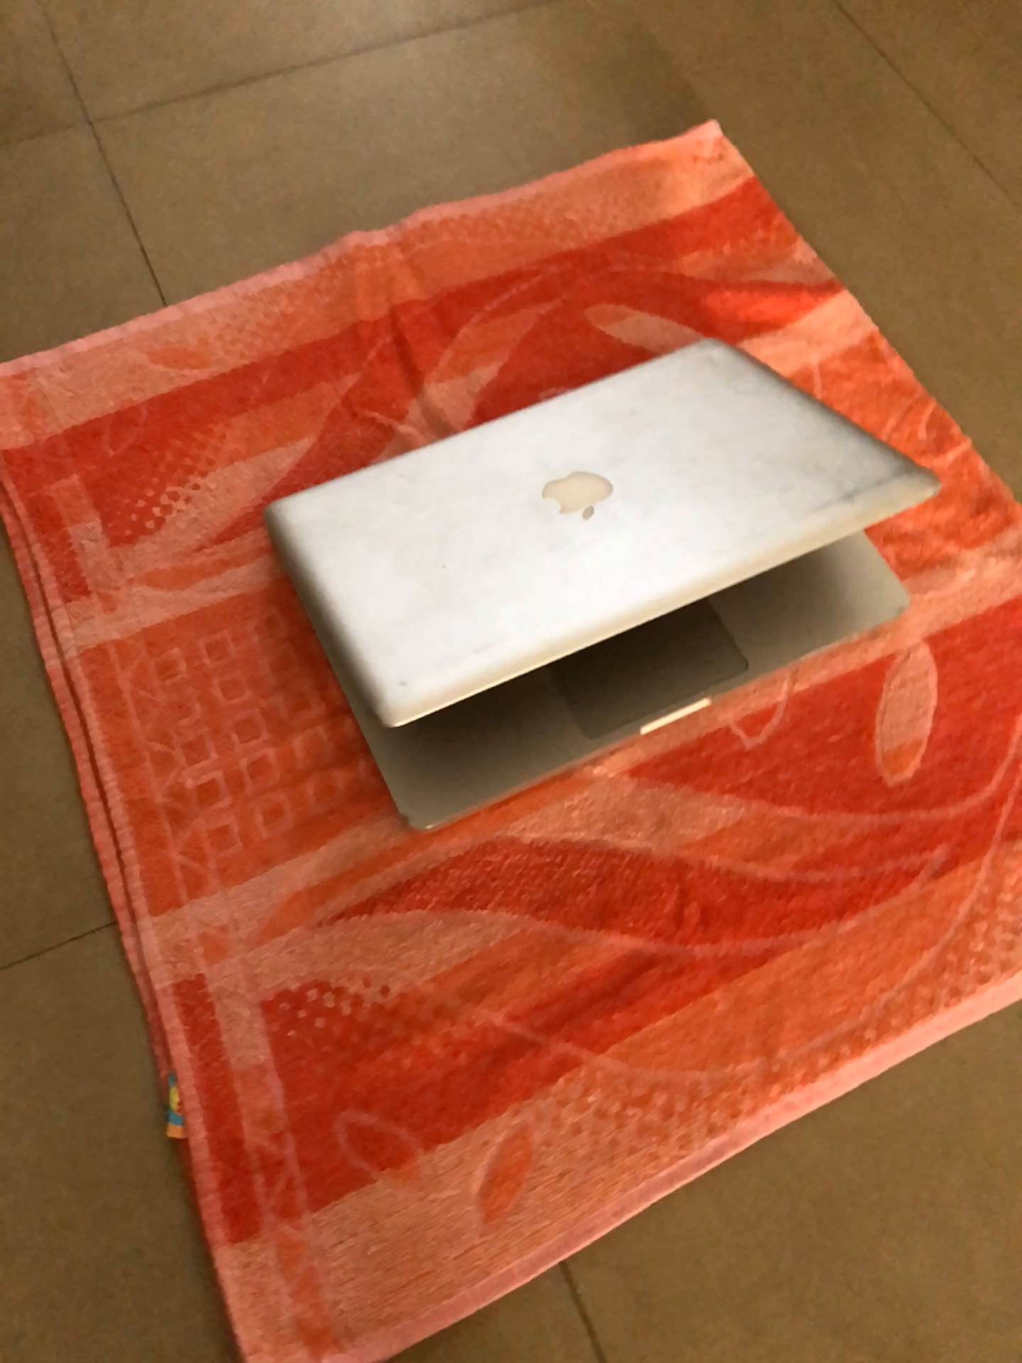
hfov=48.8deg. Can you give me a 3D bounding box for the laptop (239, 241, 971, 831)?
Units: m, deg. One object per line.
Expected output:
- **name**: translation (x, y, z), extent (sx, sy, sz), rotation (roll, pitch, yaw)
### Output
- **laptop**: translation (0.044, -0.091, 0.617), extent (0.310, 0.086, 0.223), rotation (-23, 65, -13)
